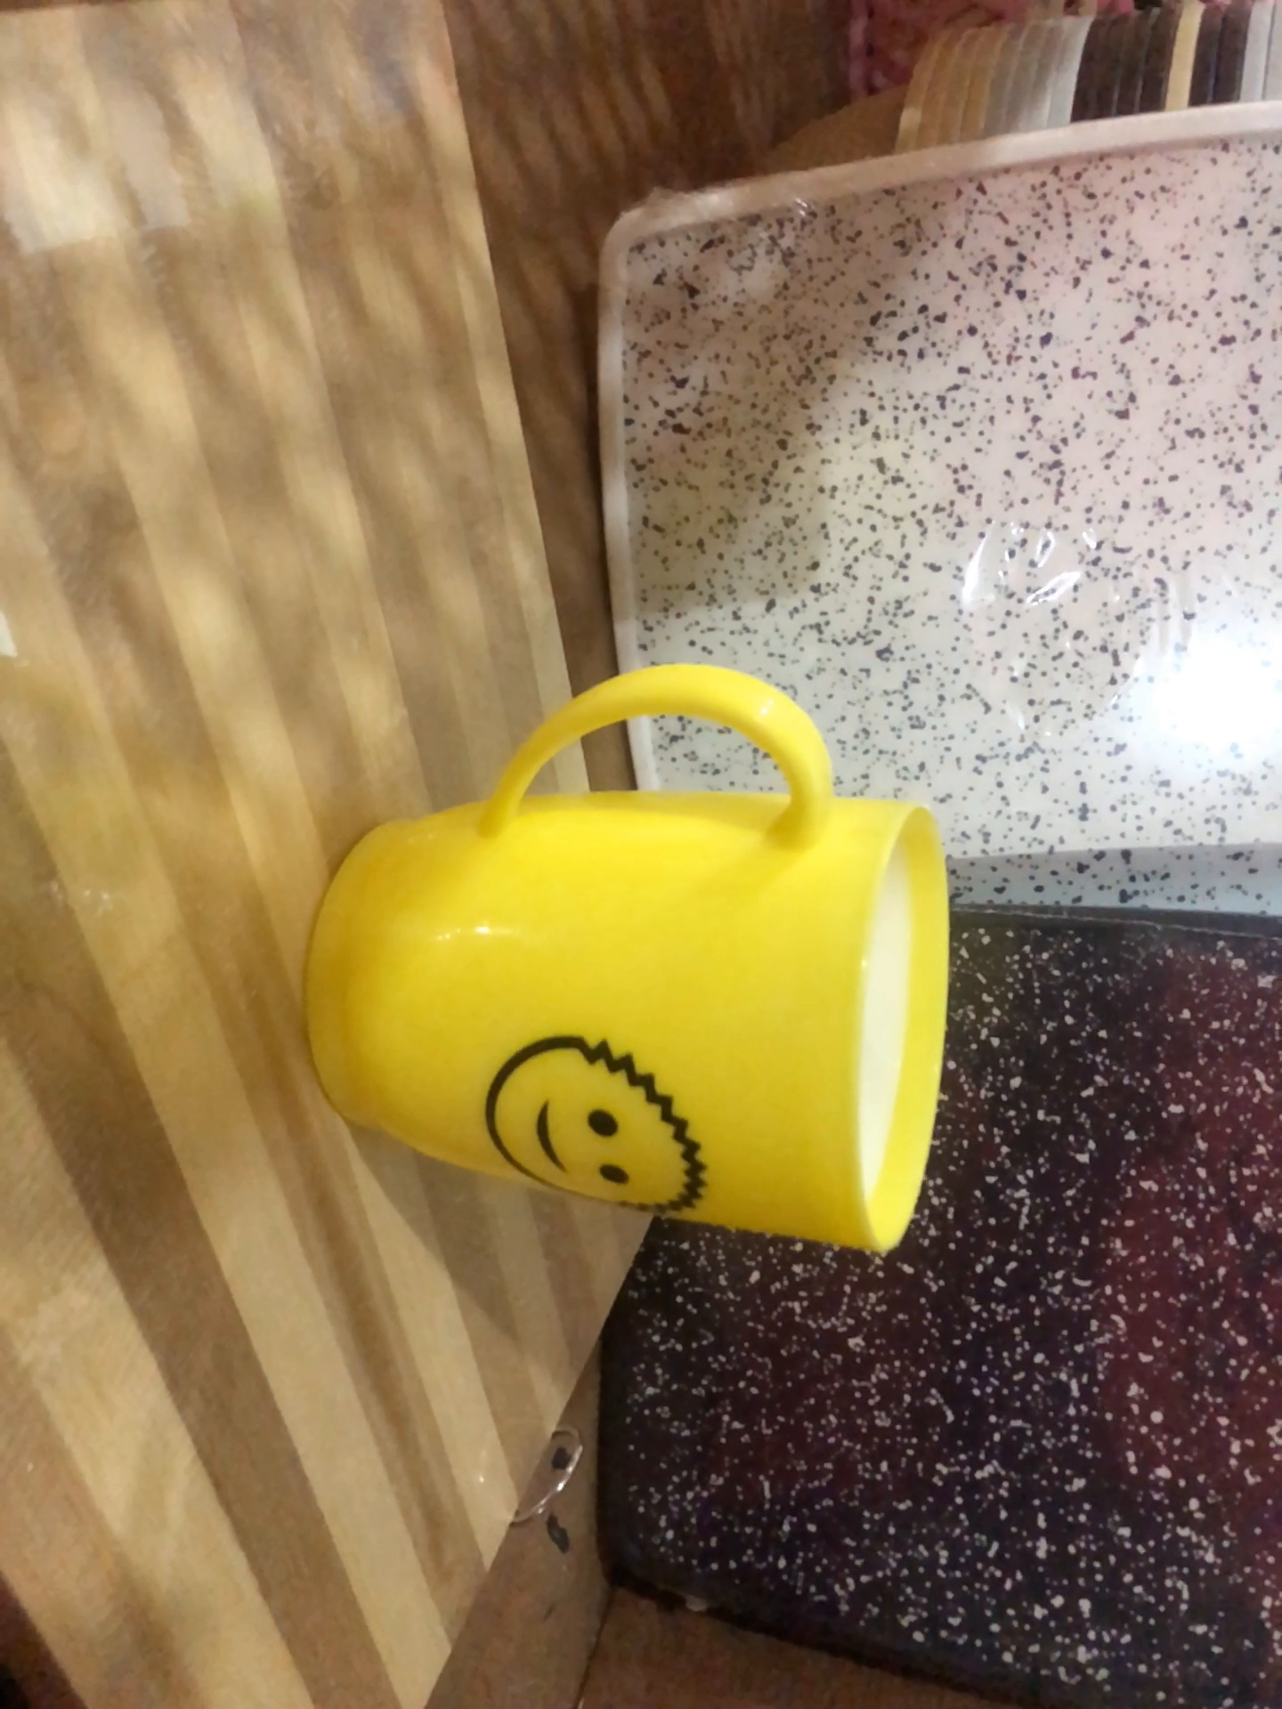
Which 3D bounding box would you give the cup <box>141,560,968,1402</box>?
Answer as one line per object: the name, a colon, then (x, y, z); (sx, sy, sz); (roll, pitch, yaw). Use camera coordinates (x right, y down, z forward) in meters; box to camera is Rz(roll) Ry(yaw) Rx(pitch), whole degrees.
cup: (-0.003, 0.018, 0.248); (0.080, 0.099, 0.110); (-59, 145, -49)
